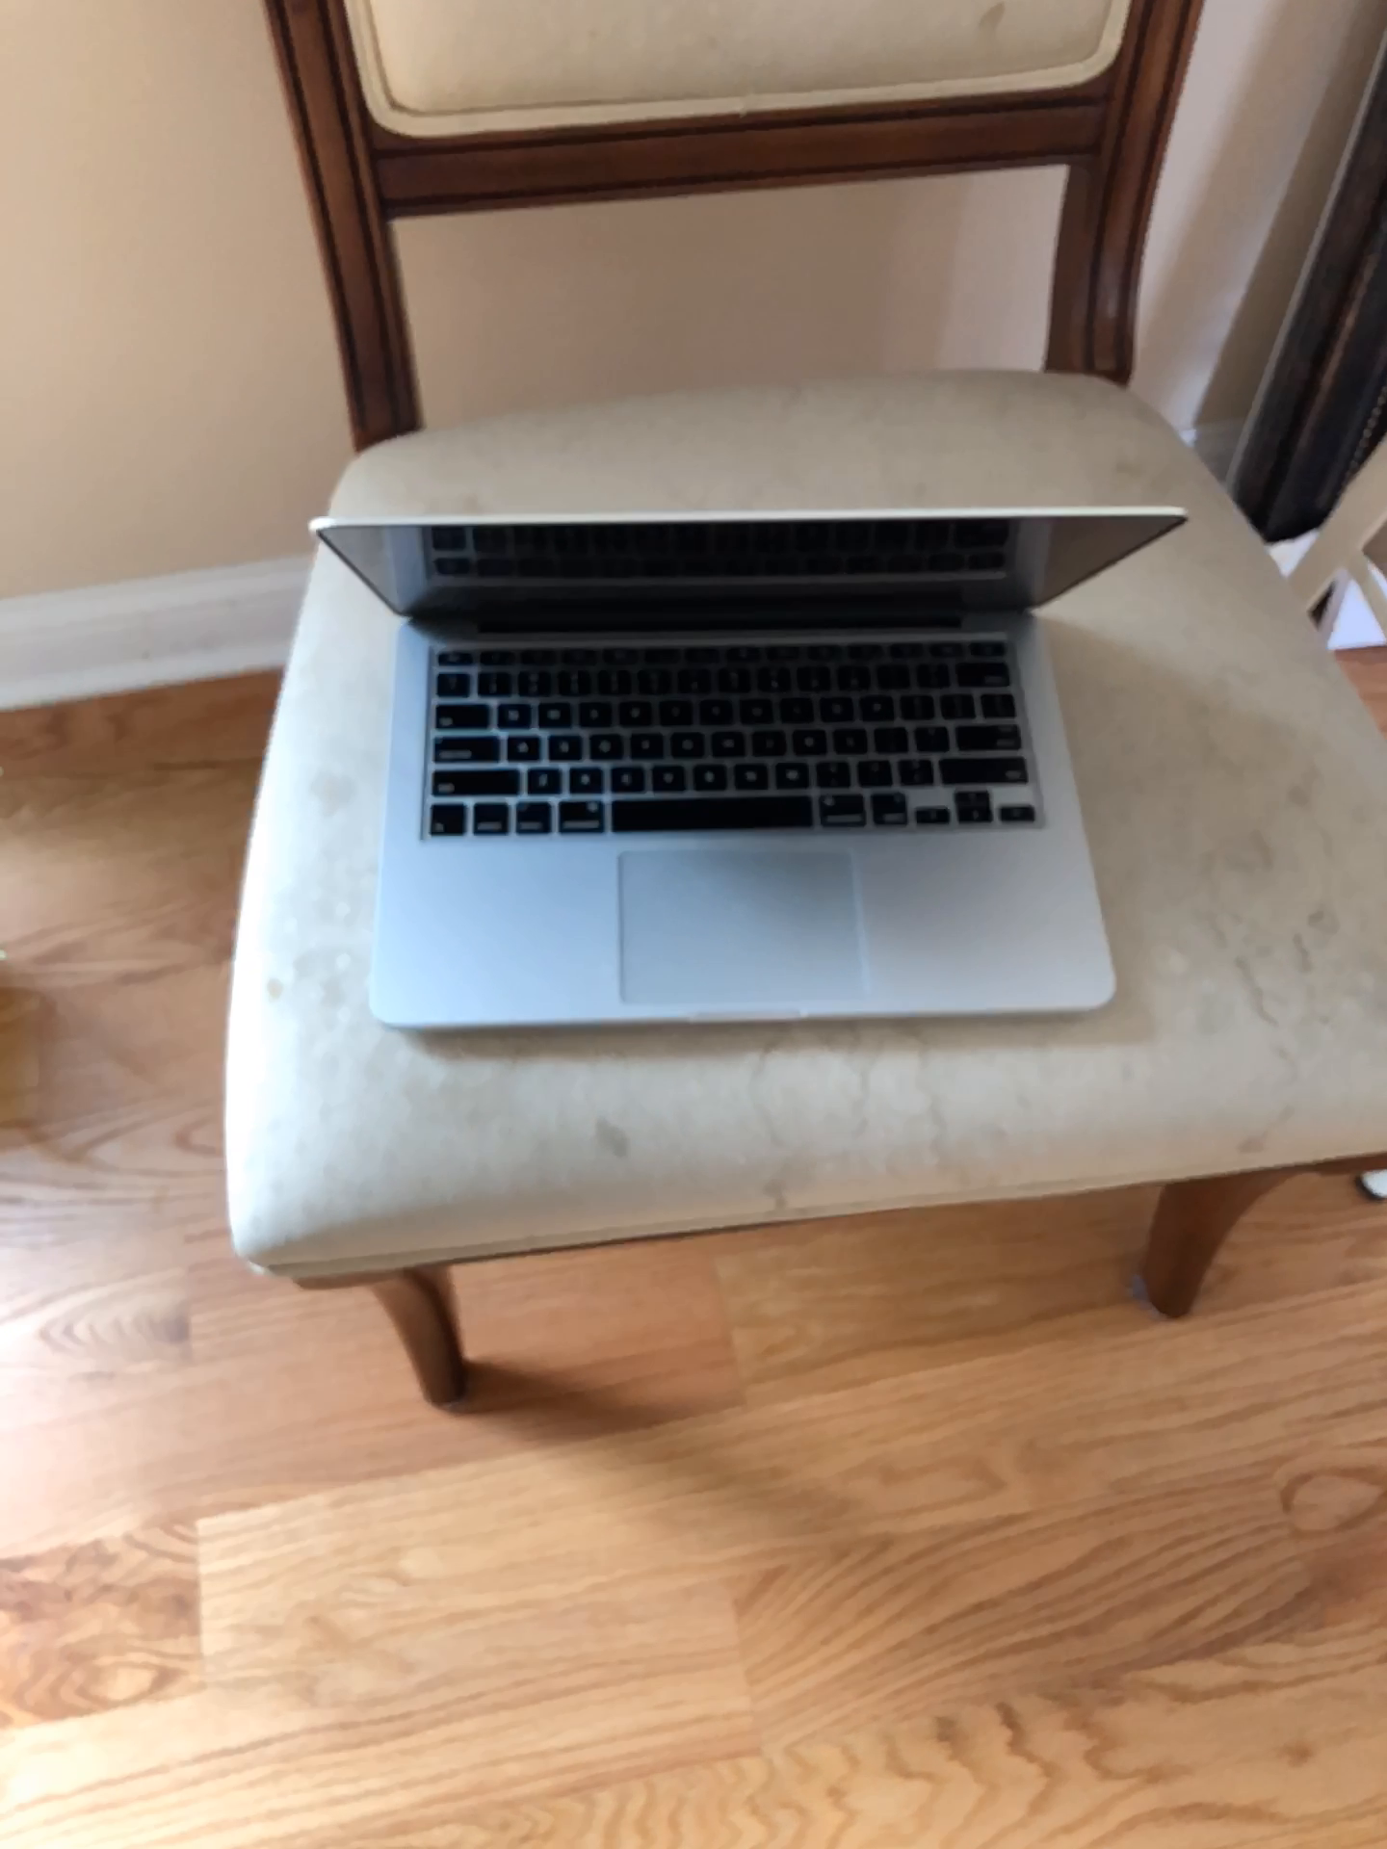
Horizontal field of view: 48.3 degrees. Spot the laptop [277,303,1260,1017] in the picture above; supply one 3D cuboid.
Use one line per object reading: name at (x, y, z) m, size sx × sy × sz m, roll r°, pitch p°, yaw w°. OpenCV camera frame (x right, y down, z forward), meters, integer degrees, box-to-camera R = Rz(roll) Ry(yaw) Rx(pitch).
laptop at (0.018, -0.102, 0.623) m, size 0.309 × 0.183 × 0.219 m, roll -2°, pitch 59°, yaw -2°
